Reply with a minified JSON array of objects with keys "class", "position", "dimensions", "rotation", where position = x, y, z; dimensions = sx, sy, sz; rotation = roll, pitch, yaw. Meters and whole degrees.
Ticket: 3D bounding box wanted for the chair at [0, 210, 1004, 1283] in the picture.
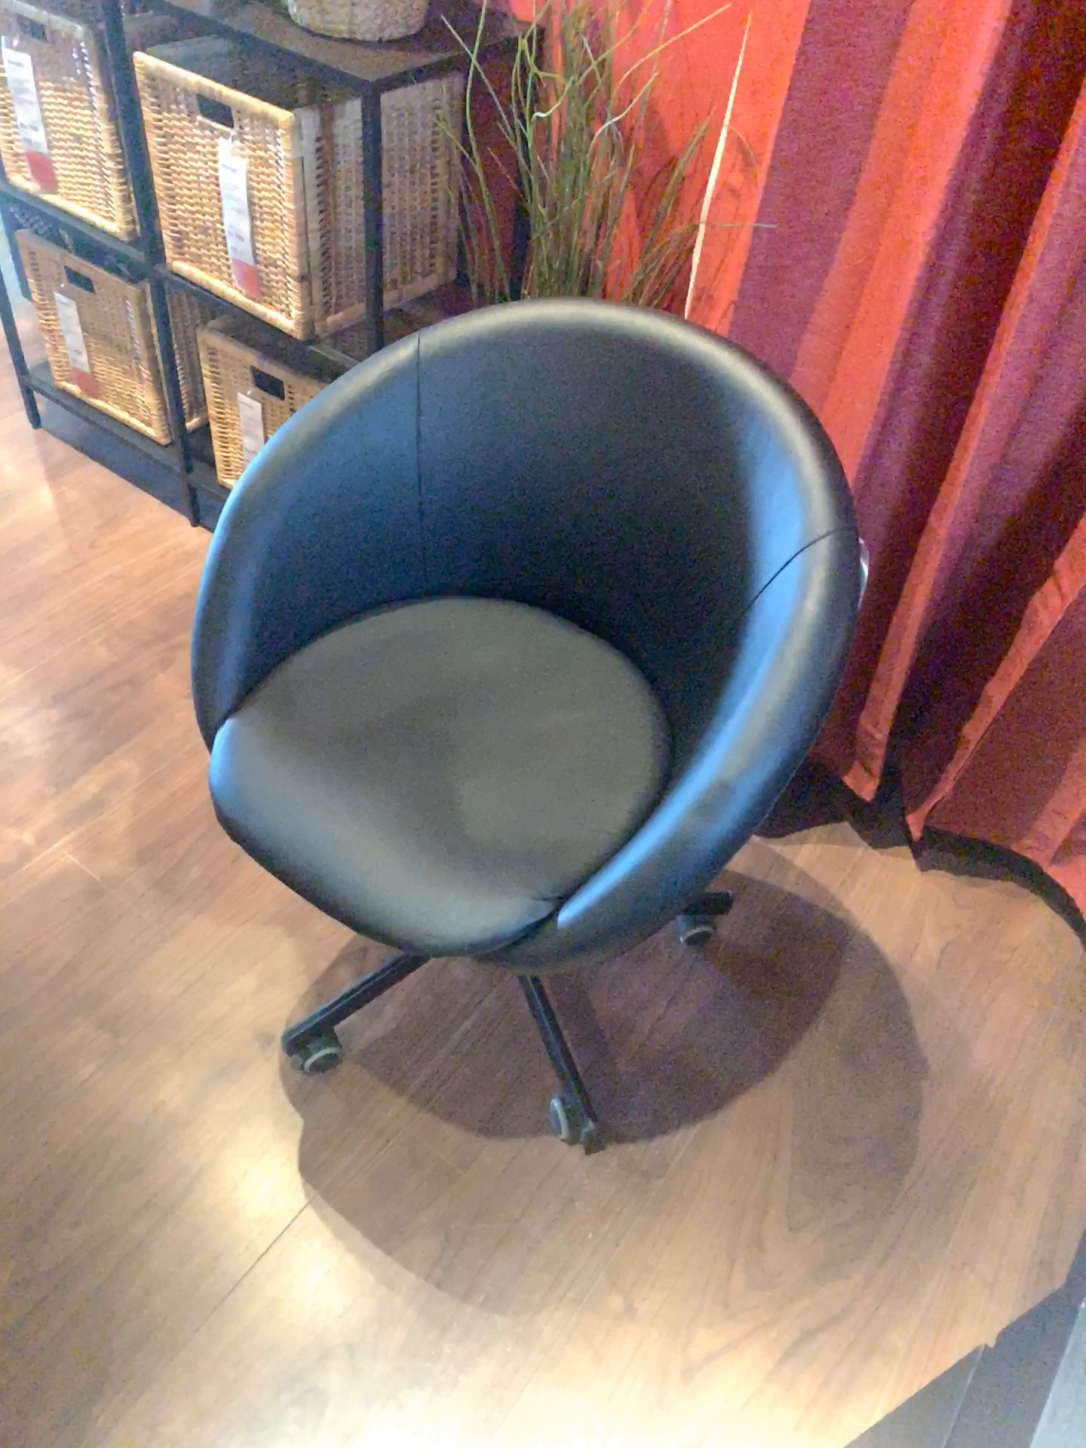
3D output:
[{"class":"chair","position":[-0.057,0.009,1.245],"dimensions":[0.671,0.757,0.672],"rotation":[30,51,19]}]
